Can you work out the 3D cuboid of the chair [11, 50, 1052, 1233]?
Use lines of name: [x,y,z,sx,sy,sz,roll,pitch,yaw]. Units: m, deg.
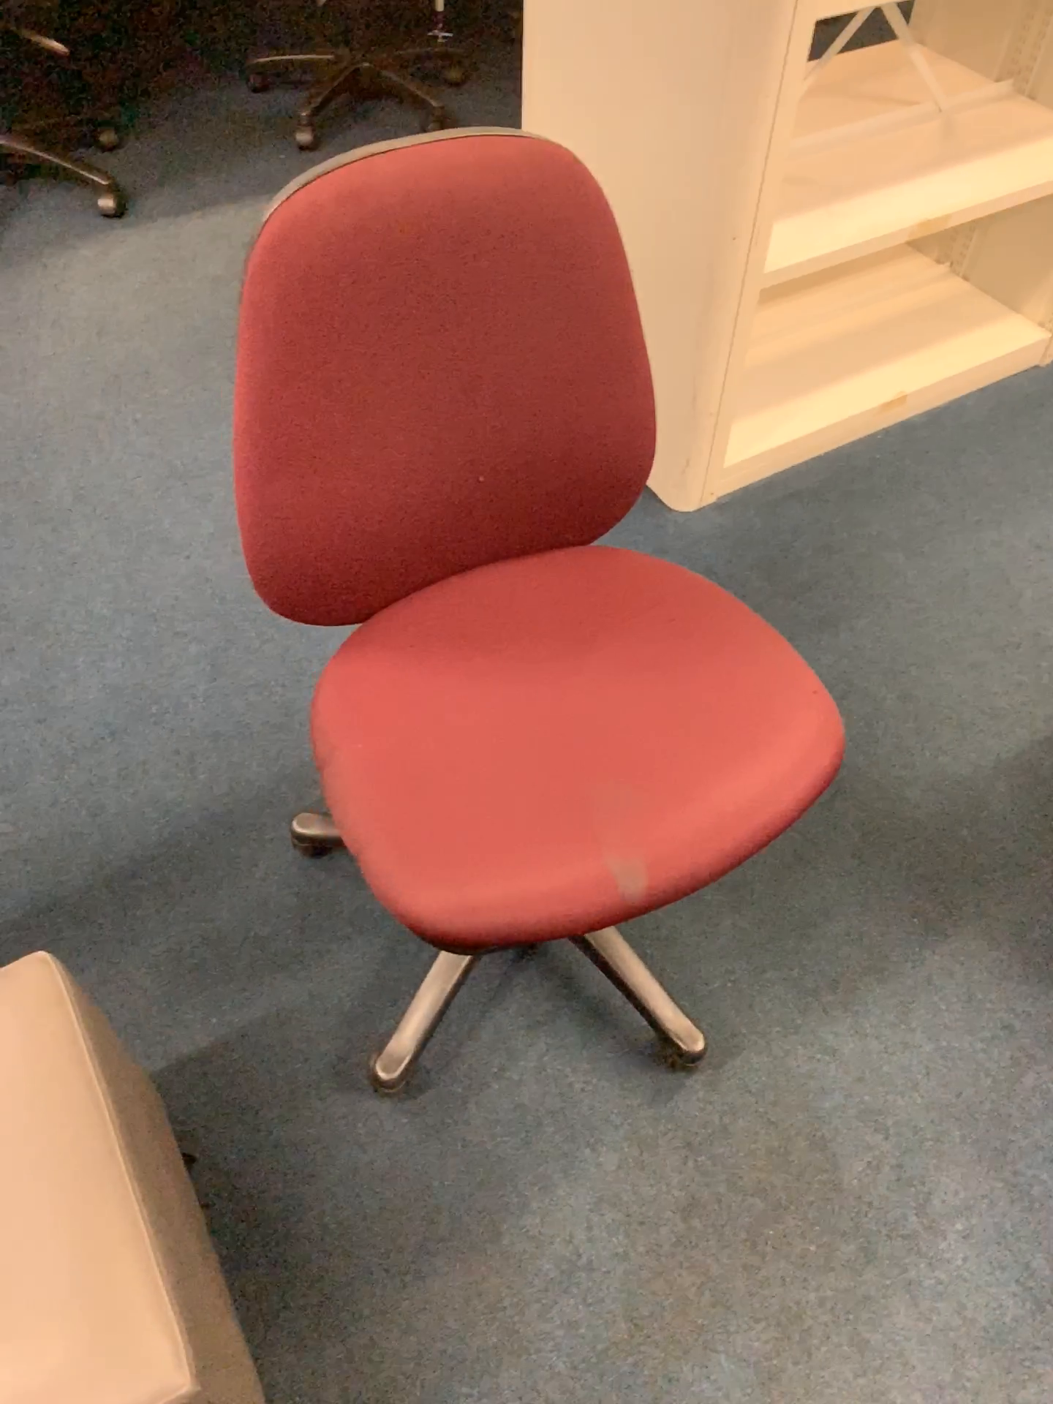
chair: [0.012,-0.053,1.085,0.651,0.783,0.695,-20,54,-17]
